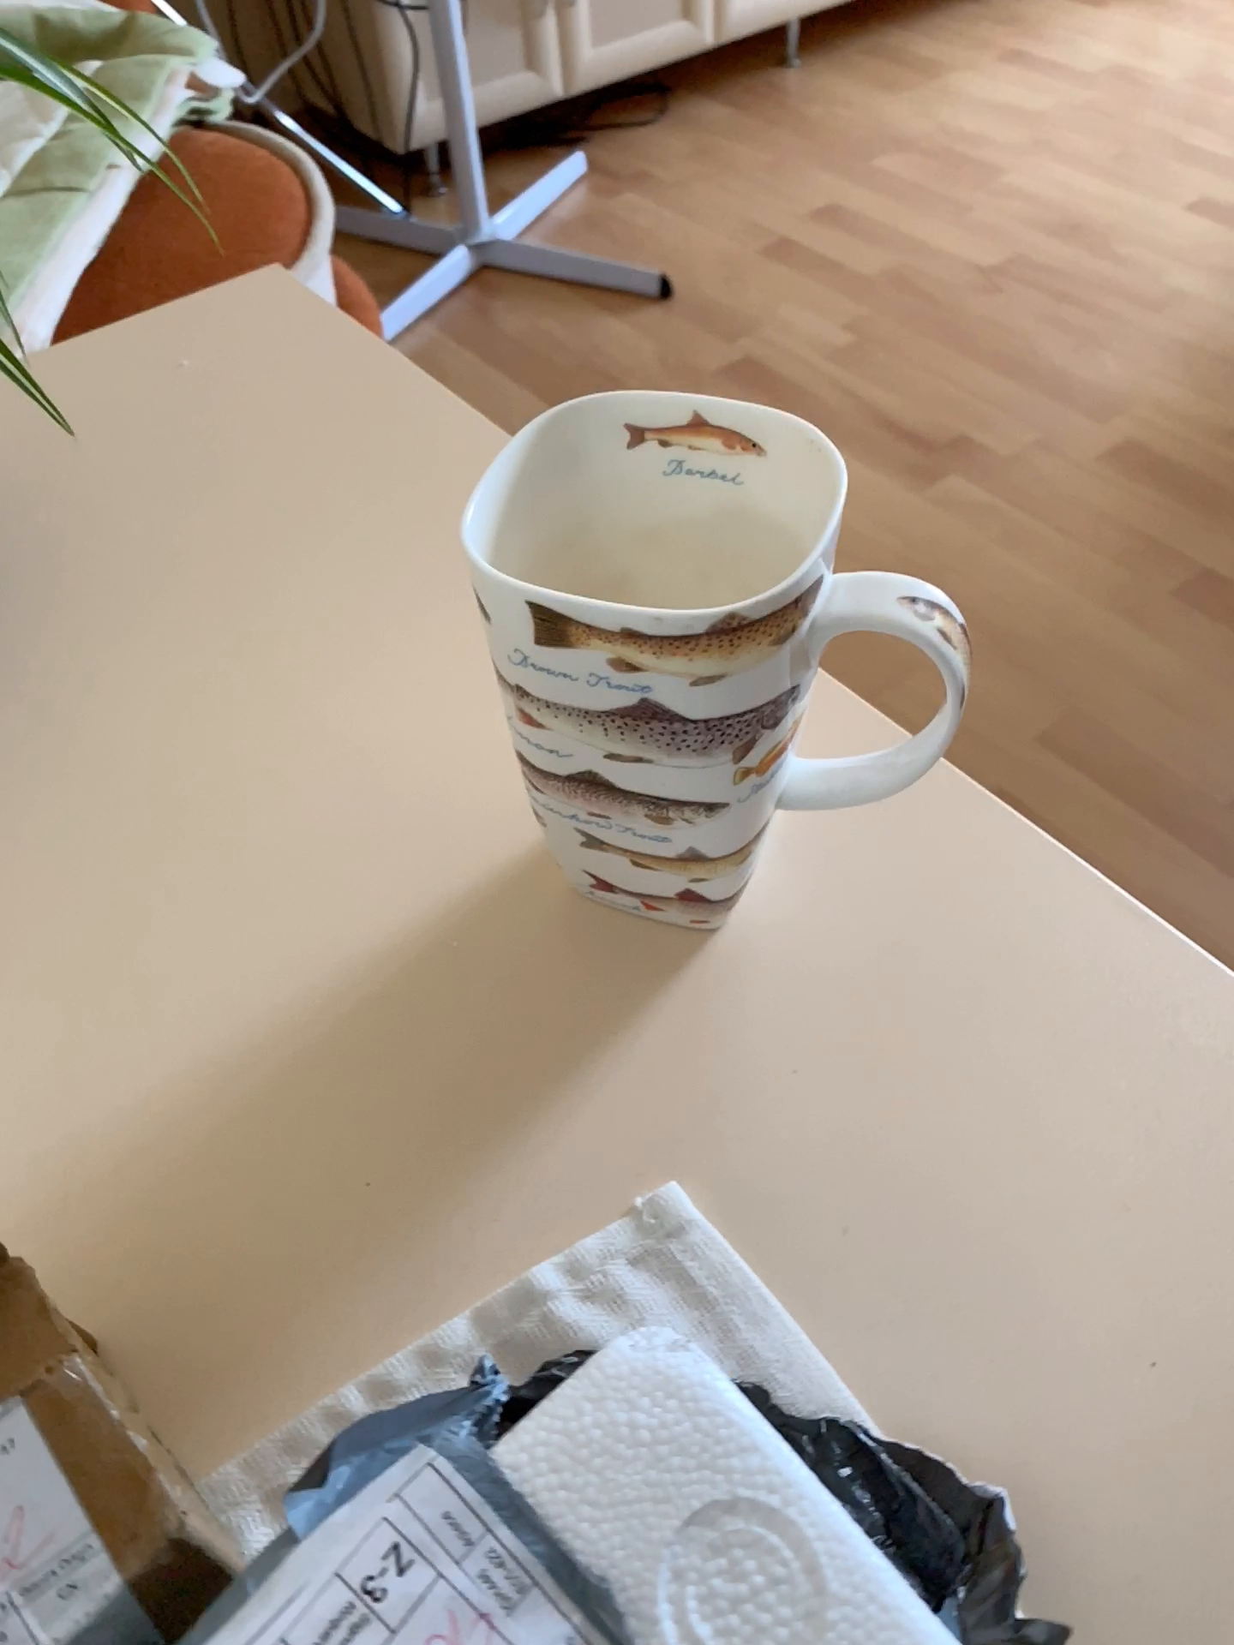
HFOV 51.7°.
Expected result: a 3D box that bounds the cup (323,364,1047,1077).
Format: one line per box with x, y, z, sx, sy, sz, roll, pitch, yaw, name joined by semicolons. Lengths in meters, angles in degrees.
0.022;-0.028;0.339;0.140;0.129;0.101;15;51;17;cup
